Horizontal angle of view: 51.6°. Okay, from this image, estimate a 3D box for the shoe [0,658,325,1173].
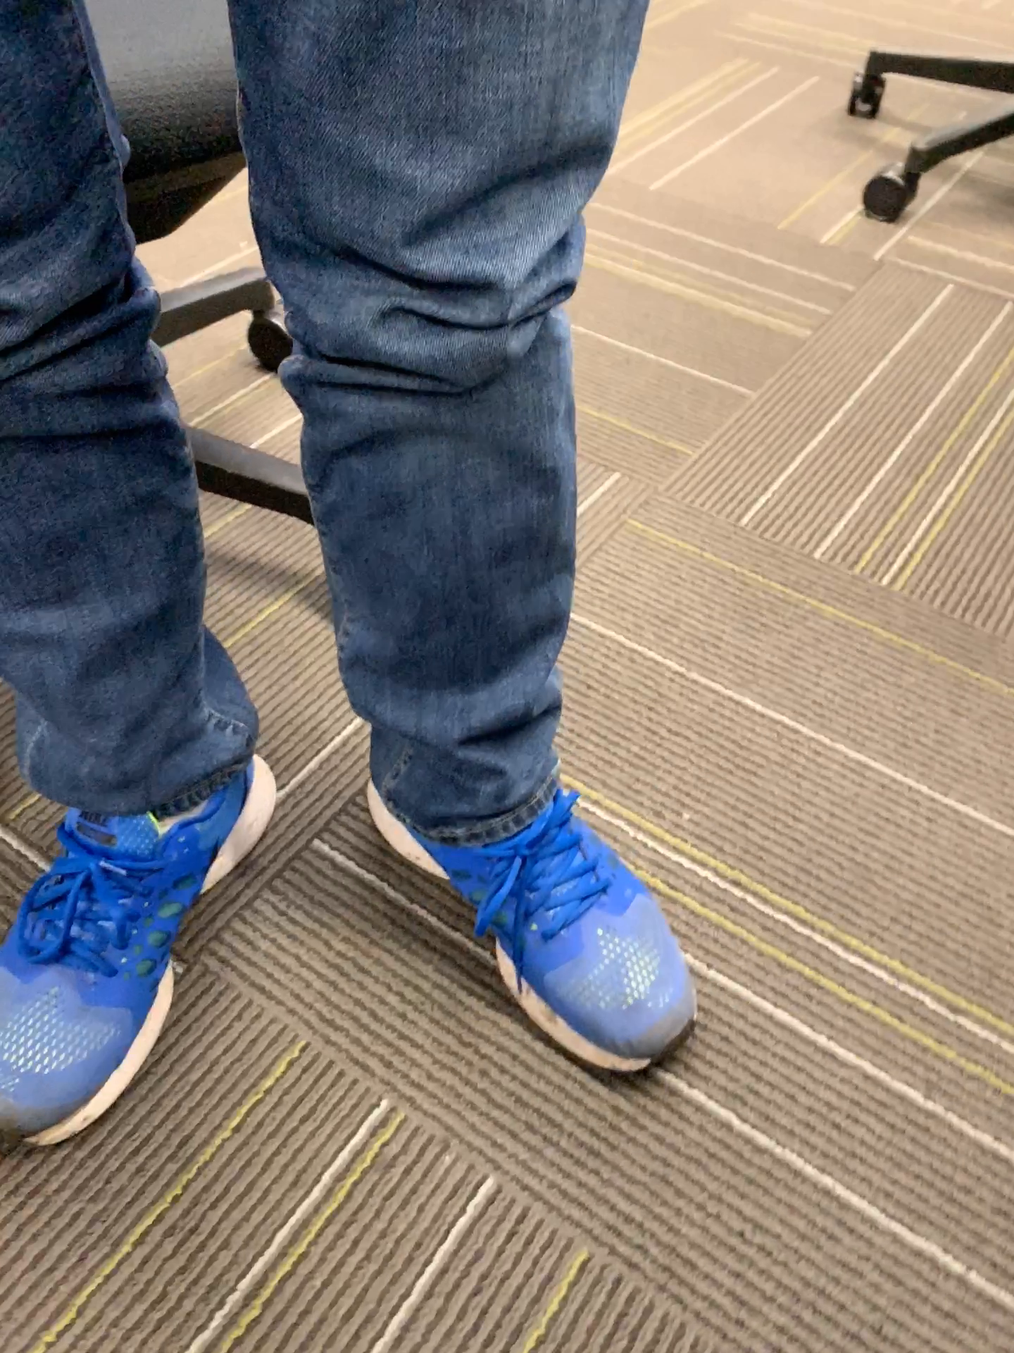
[{"bbox_3d":[-0.244,0.131,0.697,0.119,0.088,0.340,13,38,9],"label":"shoe"}]

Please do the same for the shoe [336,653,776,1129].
[{"bbox_3d":[0.017,0.121,0.711,0.141,0.088,0.312,-22,42,-22],"label":"shoe"}]
